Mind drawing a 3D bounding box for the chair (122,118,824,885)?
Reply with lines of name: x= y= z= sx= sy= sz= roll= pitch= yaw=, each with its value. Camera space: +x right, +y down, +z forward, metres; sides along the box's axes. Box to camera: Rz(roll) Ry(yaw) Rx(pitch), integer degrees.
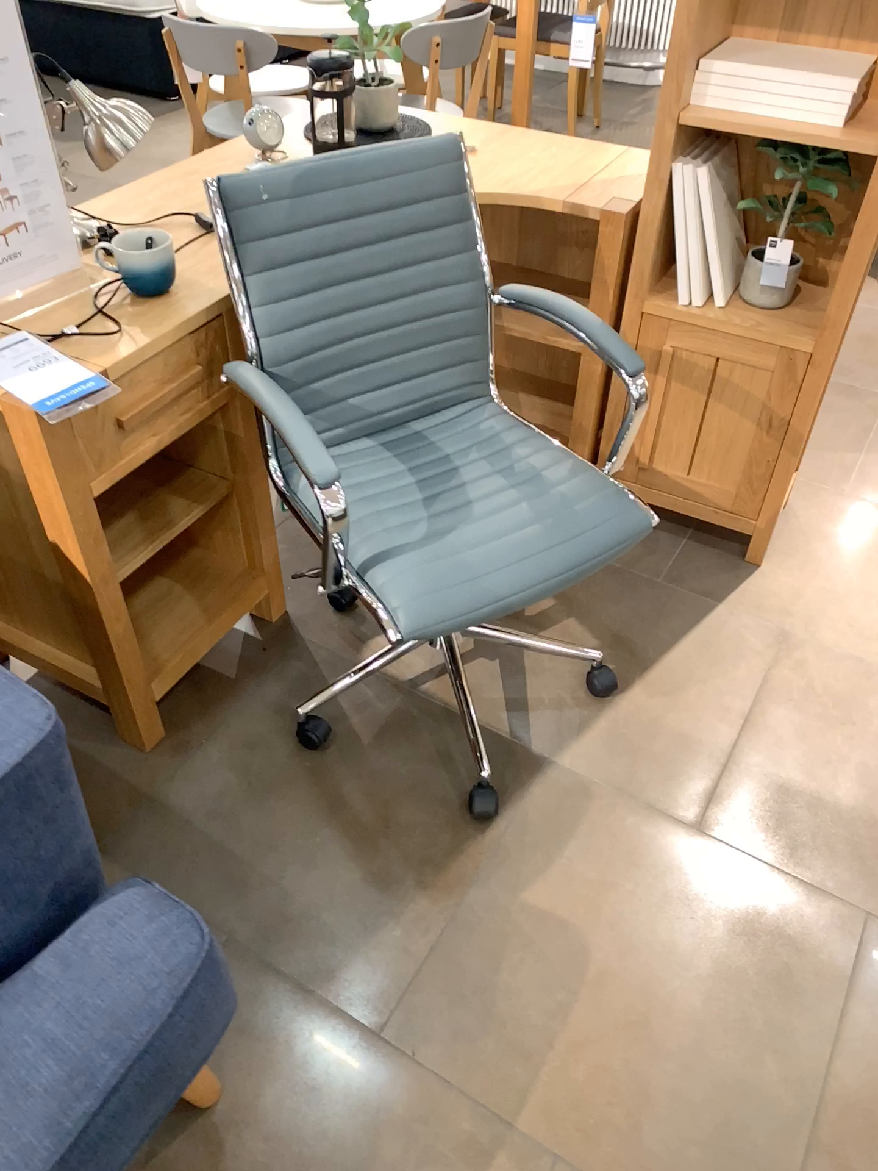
chair: x=0.006 y=-0.167 z=1.498 sx=0.666 sy=0.883 sz=0.712 roll=-23 pitch=47 yaw=-24
